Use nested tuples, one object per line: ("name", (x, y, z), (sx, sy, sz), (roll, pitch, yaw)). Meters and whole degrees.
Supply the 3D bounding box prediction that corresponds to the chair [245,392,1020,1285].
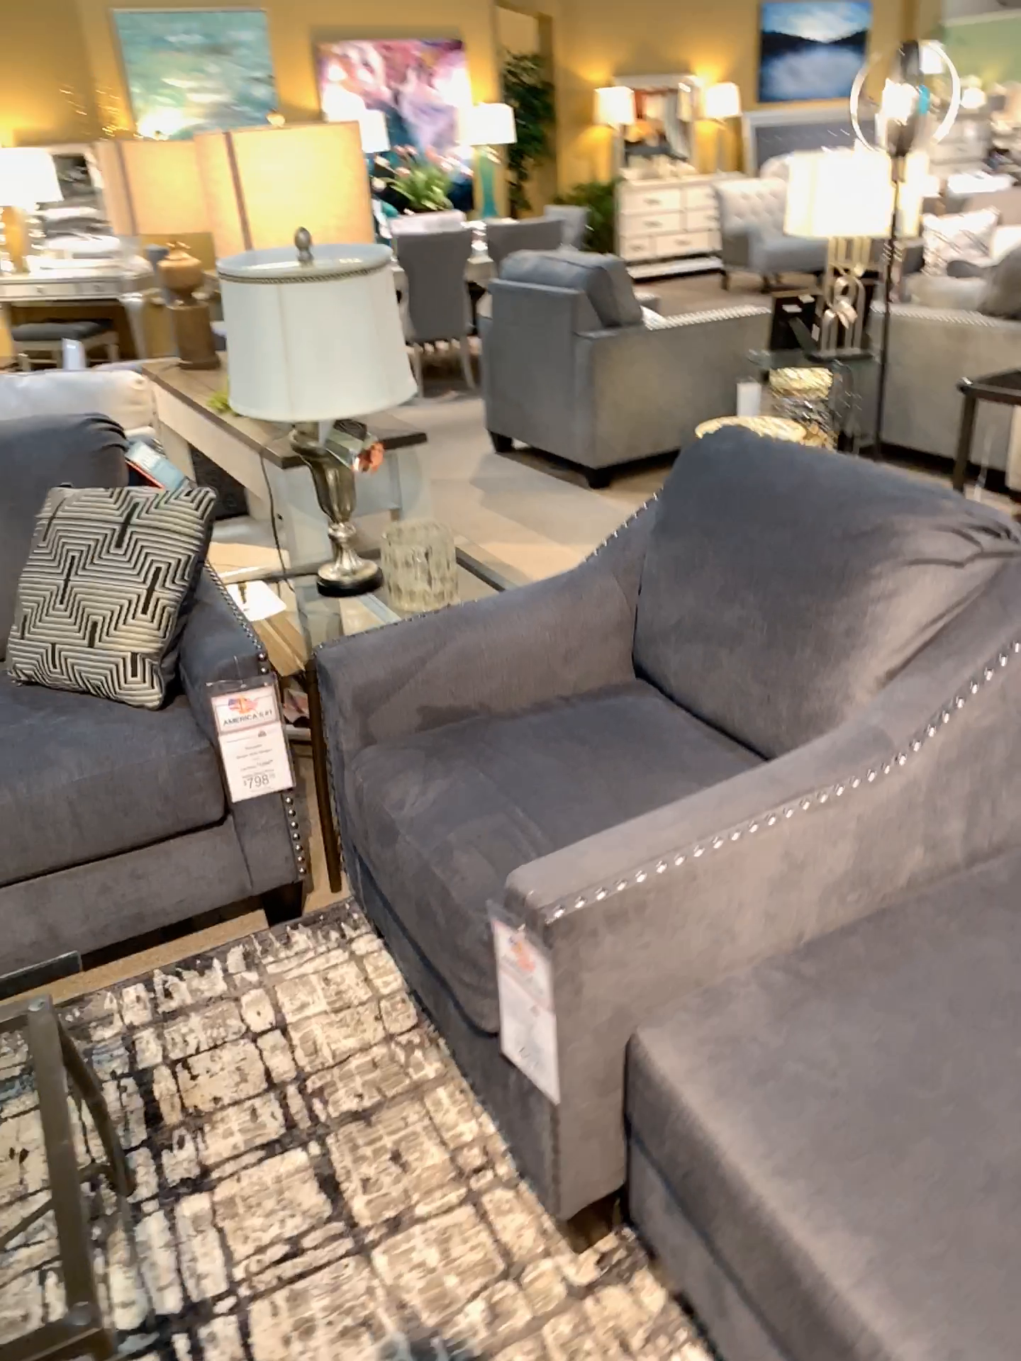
("chair", (0.230, 0.100, 1.700), (0.958, 0.840, 0.924), (-16, 30, -23))
